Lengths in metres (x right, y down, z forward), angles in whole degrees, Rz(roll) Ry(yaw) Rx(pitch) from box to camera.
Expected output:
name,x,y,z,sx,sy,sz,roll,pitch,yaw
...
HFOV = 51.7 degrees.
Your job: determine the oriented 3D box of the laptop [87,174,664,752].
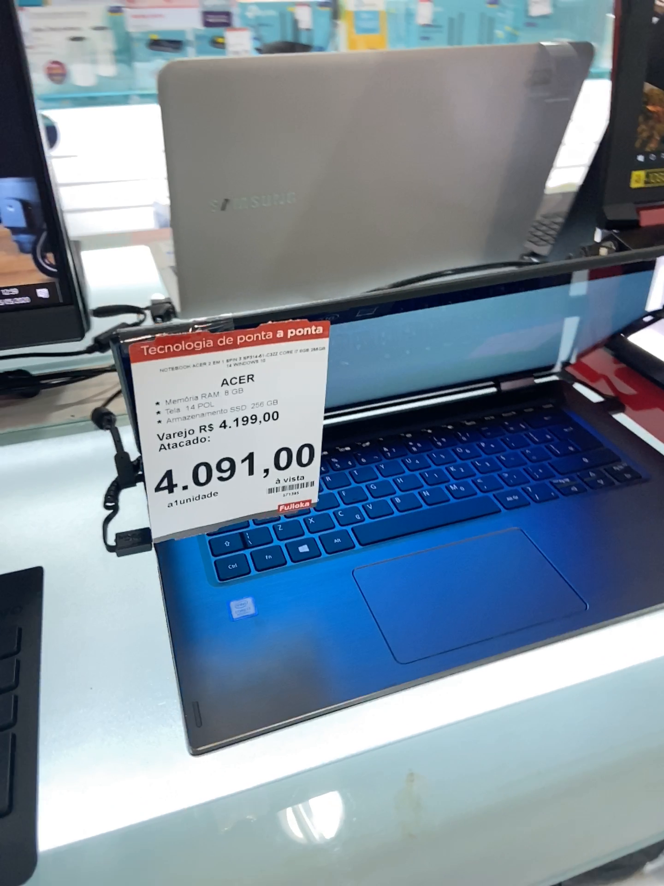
name,x,y,z,sx,sy,sz,roll,pitch,yaw
laptop,0.060,-0.027,0.370,0.328,0.154,0.219,-11,35,-16
